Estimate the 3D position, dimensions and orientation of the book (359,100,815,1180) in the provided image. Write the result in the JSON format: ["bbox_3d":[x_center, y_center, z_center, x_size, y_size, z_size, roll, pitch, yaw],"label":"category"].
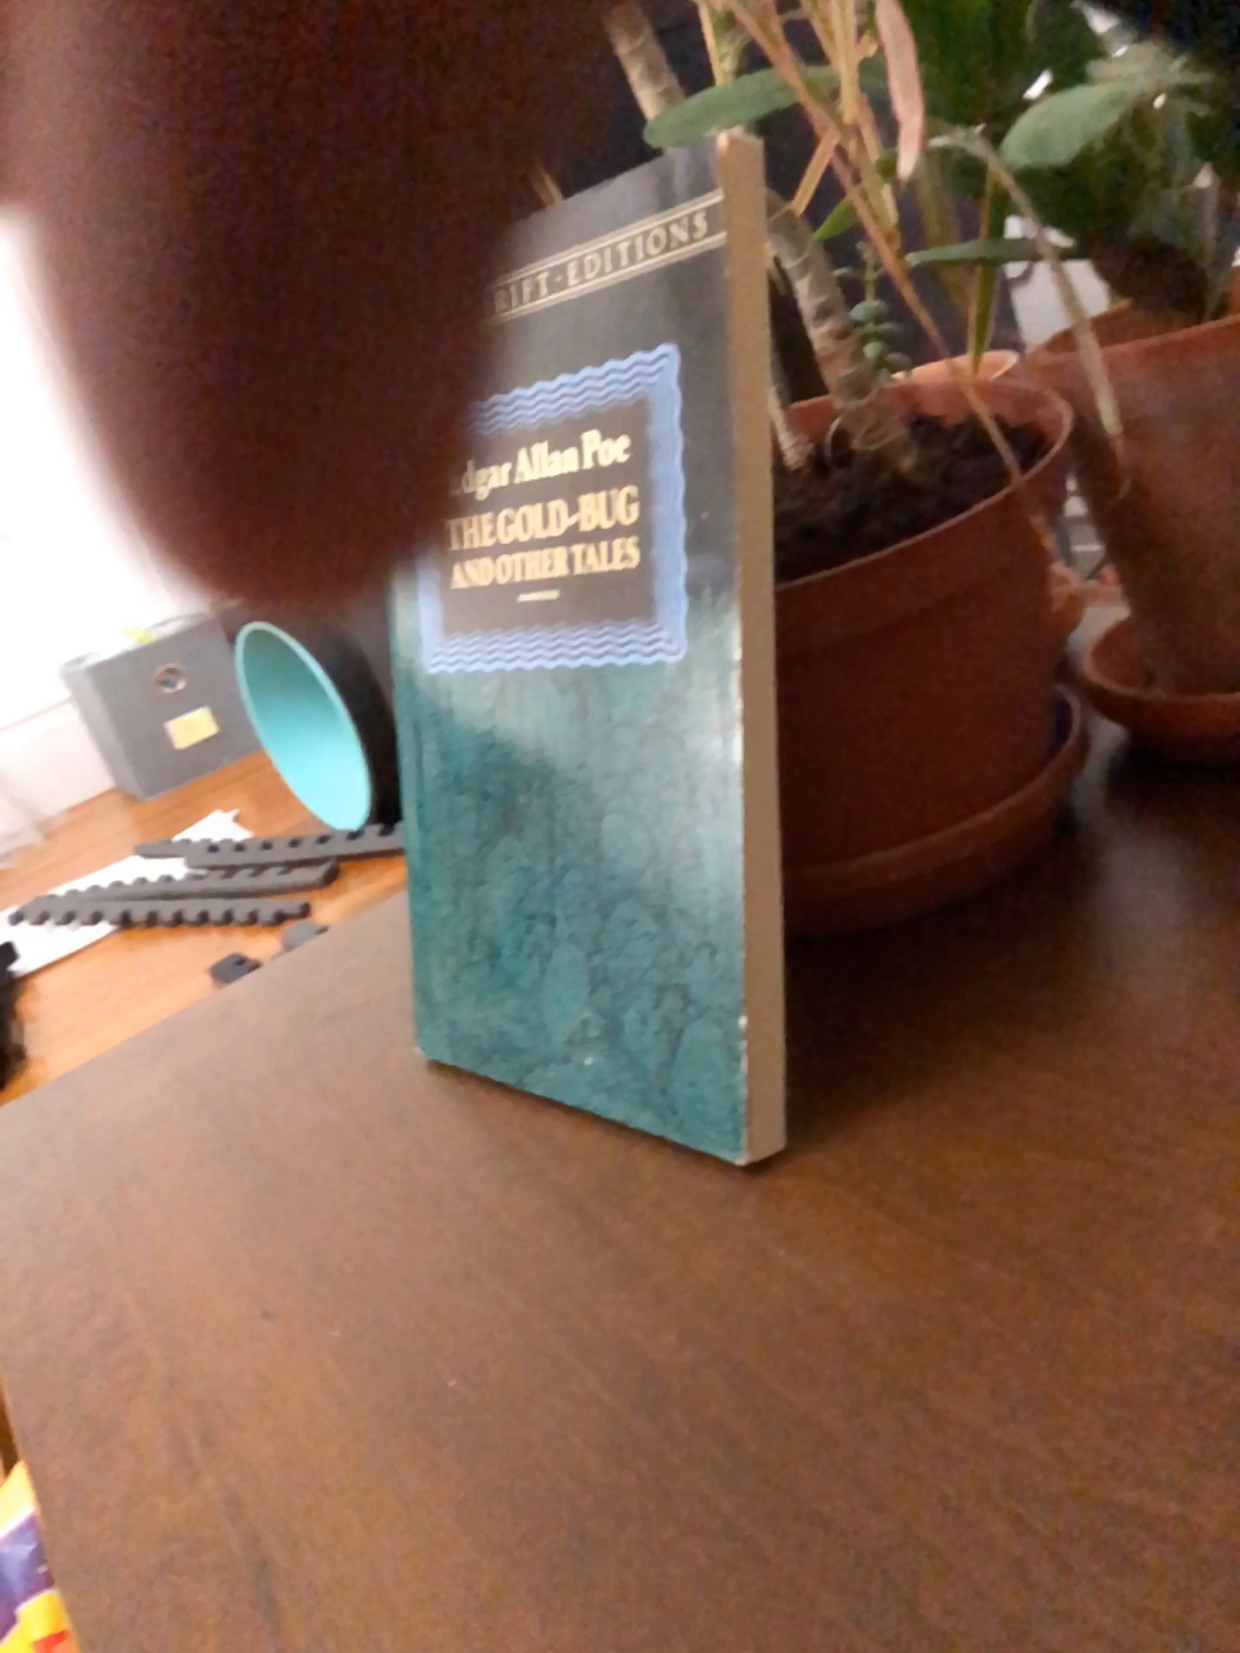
[{"bbox_3d":[-0.014,-0.038,0.328,0.020,0.210,0.140,-6,7,-40],"label":"book"}]
